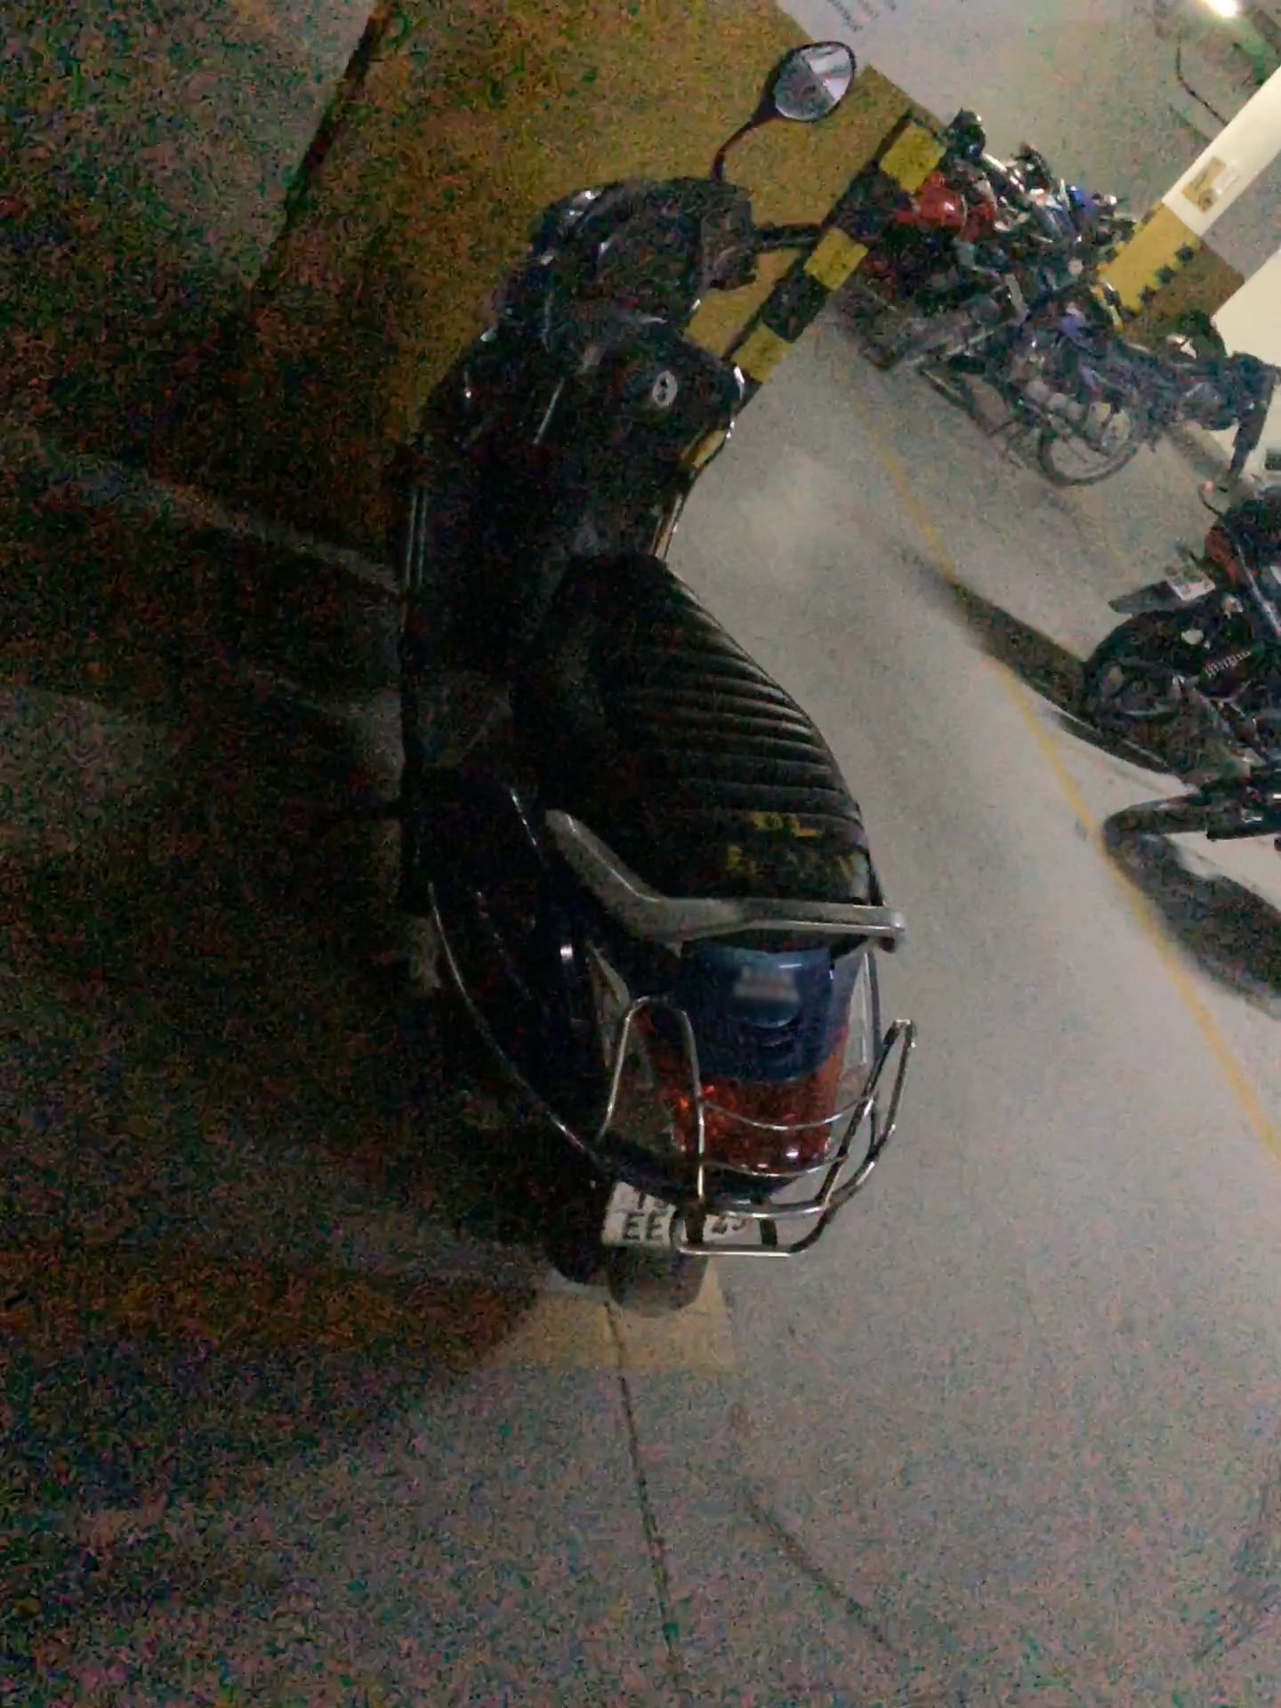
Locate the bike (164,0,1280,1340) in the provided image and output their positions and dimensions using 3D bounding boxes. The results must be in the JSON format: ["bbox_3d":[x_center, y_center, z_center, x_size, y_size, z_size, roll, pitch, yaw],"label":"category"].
[{"bbox_3d":[-0.033,-0.295,1.655,0.633,1.062,1.271,9,52,-41],"label":"bike"}]
